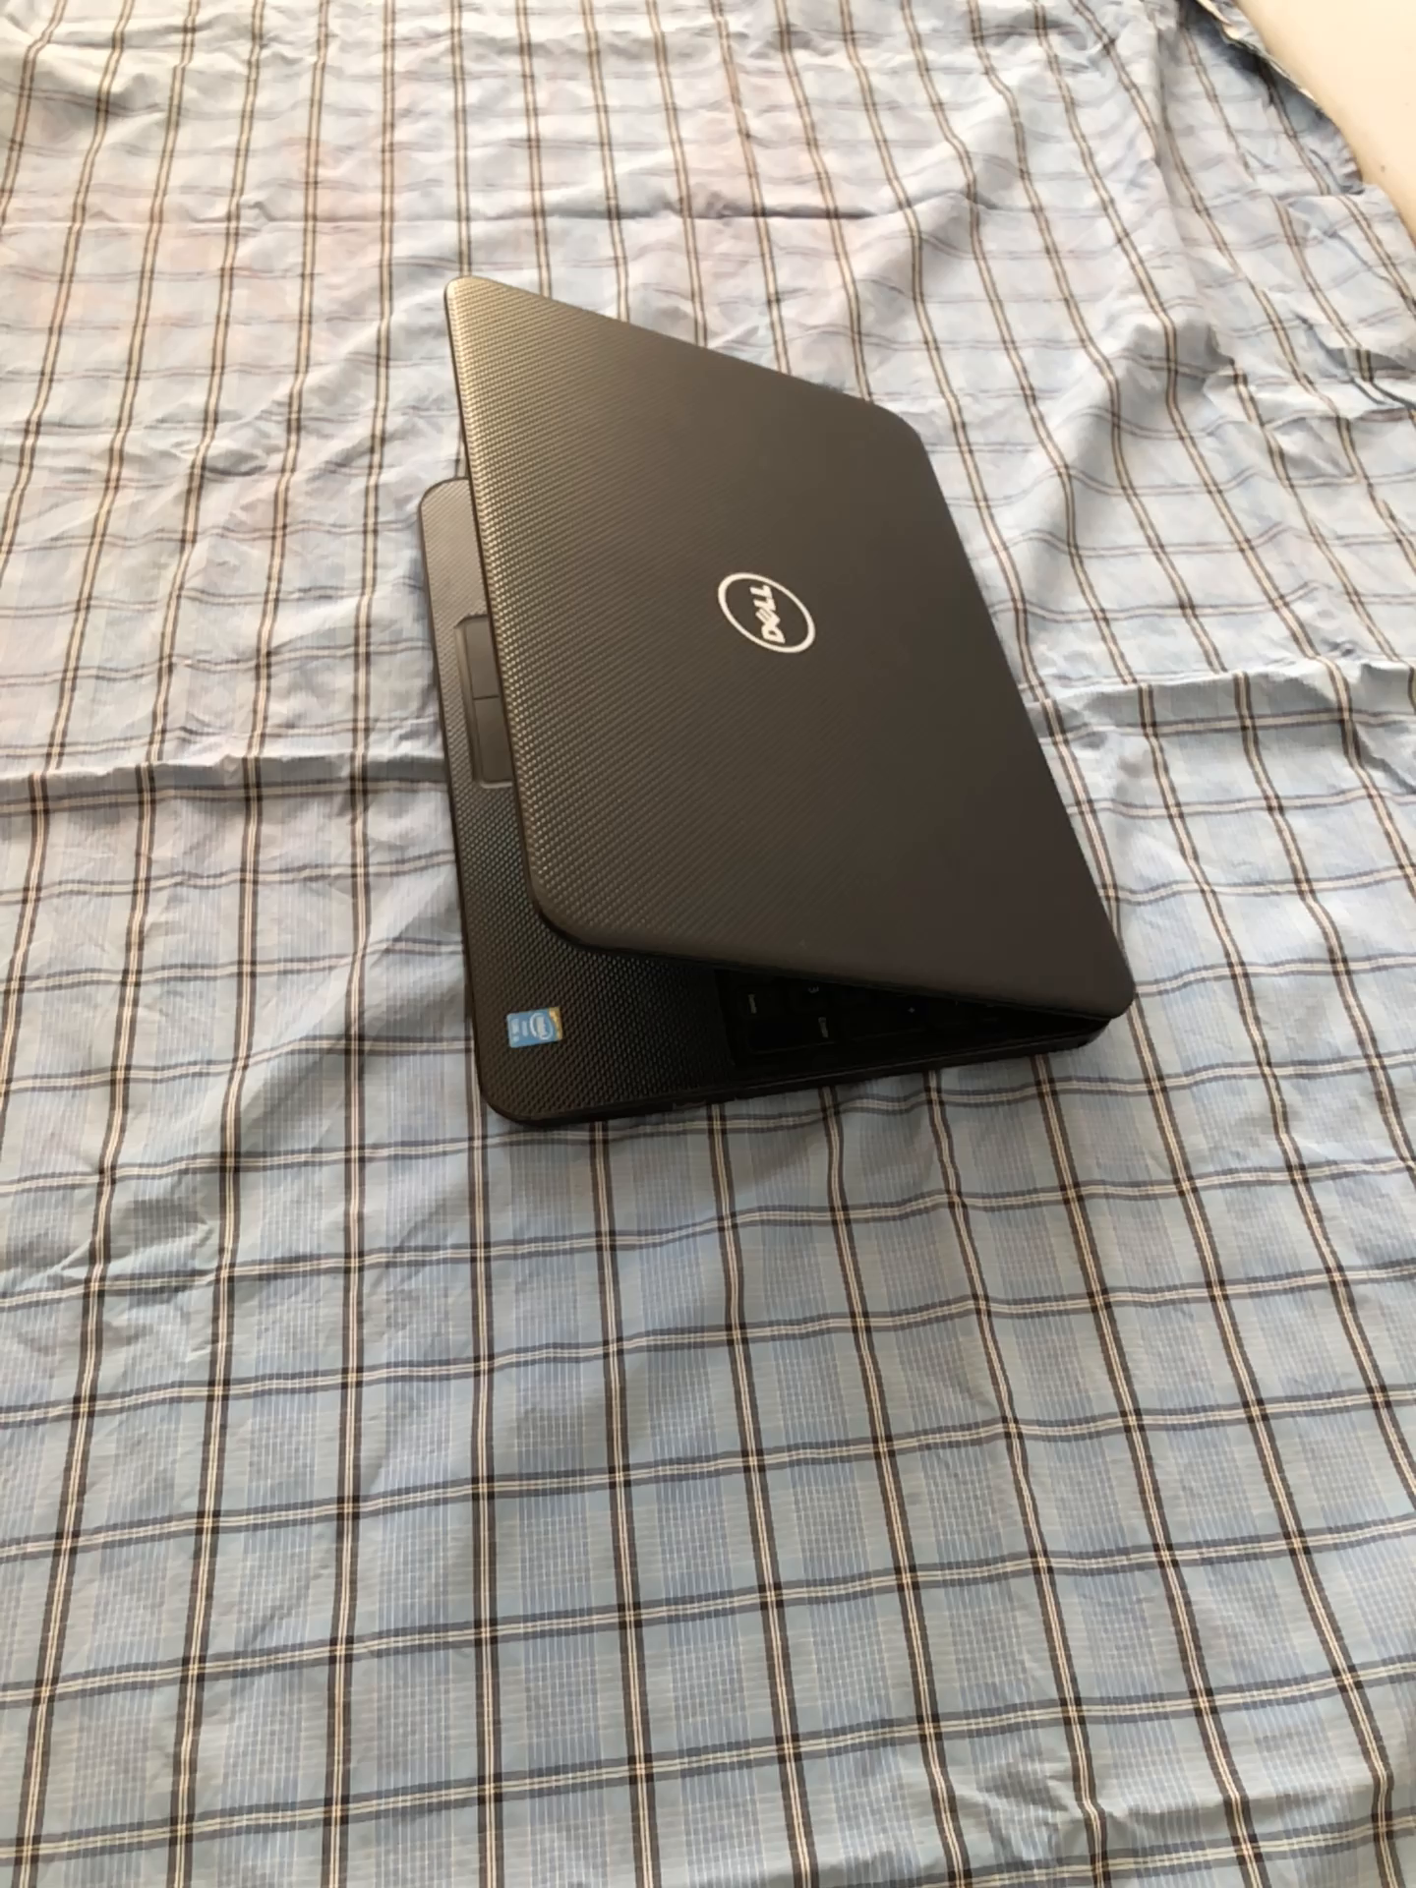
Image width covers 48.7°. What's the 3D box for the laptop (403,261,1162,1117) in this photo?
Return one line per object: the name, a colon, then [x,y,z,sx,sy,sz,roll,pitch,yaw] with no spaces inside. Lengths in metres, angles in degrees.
laptop: [0.006,-0.122,0.639,0.223,0.099,0.352,-8,56,-6]
